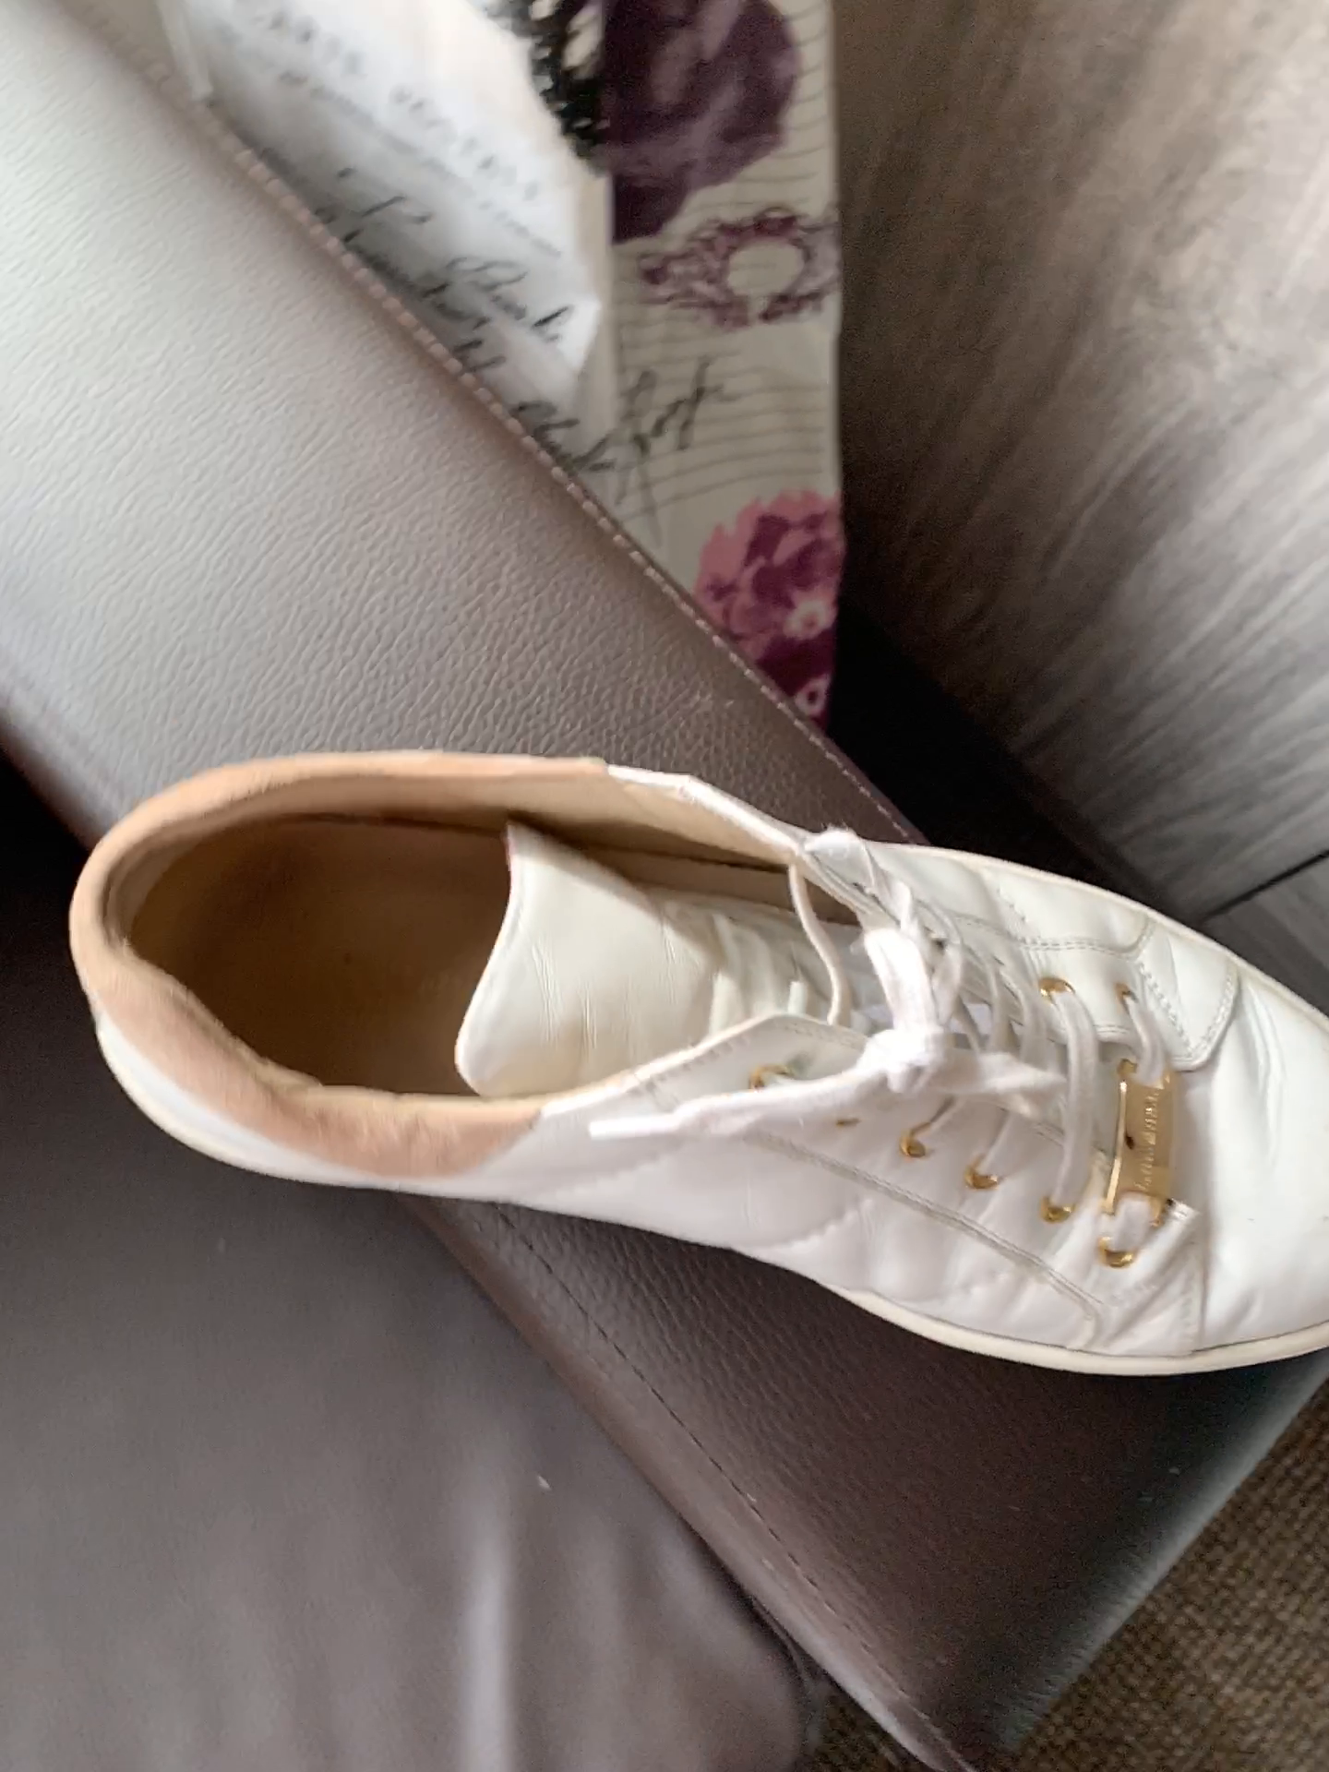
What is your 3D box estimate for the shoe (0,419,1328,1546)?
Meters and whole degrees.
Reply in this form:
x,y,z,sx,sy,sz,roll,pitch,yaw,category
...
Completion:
x,y,z,sx,sy,sz,roll,pitch,yaw,category
0.029,0.023,0.242,0.270,0.110,0.110,10,75,-3,shoe
